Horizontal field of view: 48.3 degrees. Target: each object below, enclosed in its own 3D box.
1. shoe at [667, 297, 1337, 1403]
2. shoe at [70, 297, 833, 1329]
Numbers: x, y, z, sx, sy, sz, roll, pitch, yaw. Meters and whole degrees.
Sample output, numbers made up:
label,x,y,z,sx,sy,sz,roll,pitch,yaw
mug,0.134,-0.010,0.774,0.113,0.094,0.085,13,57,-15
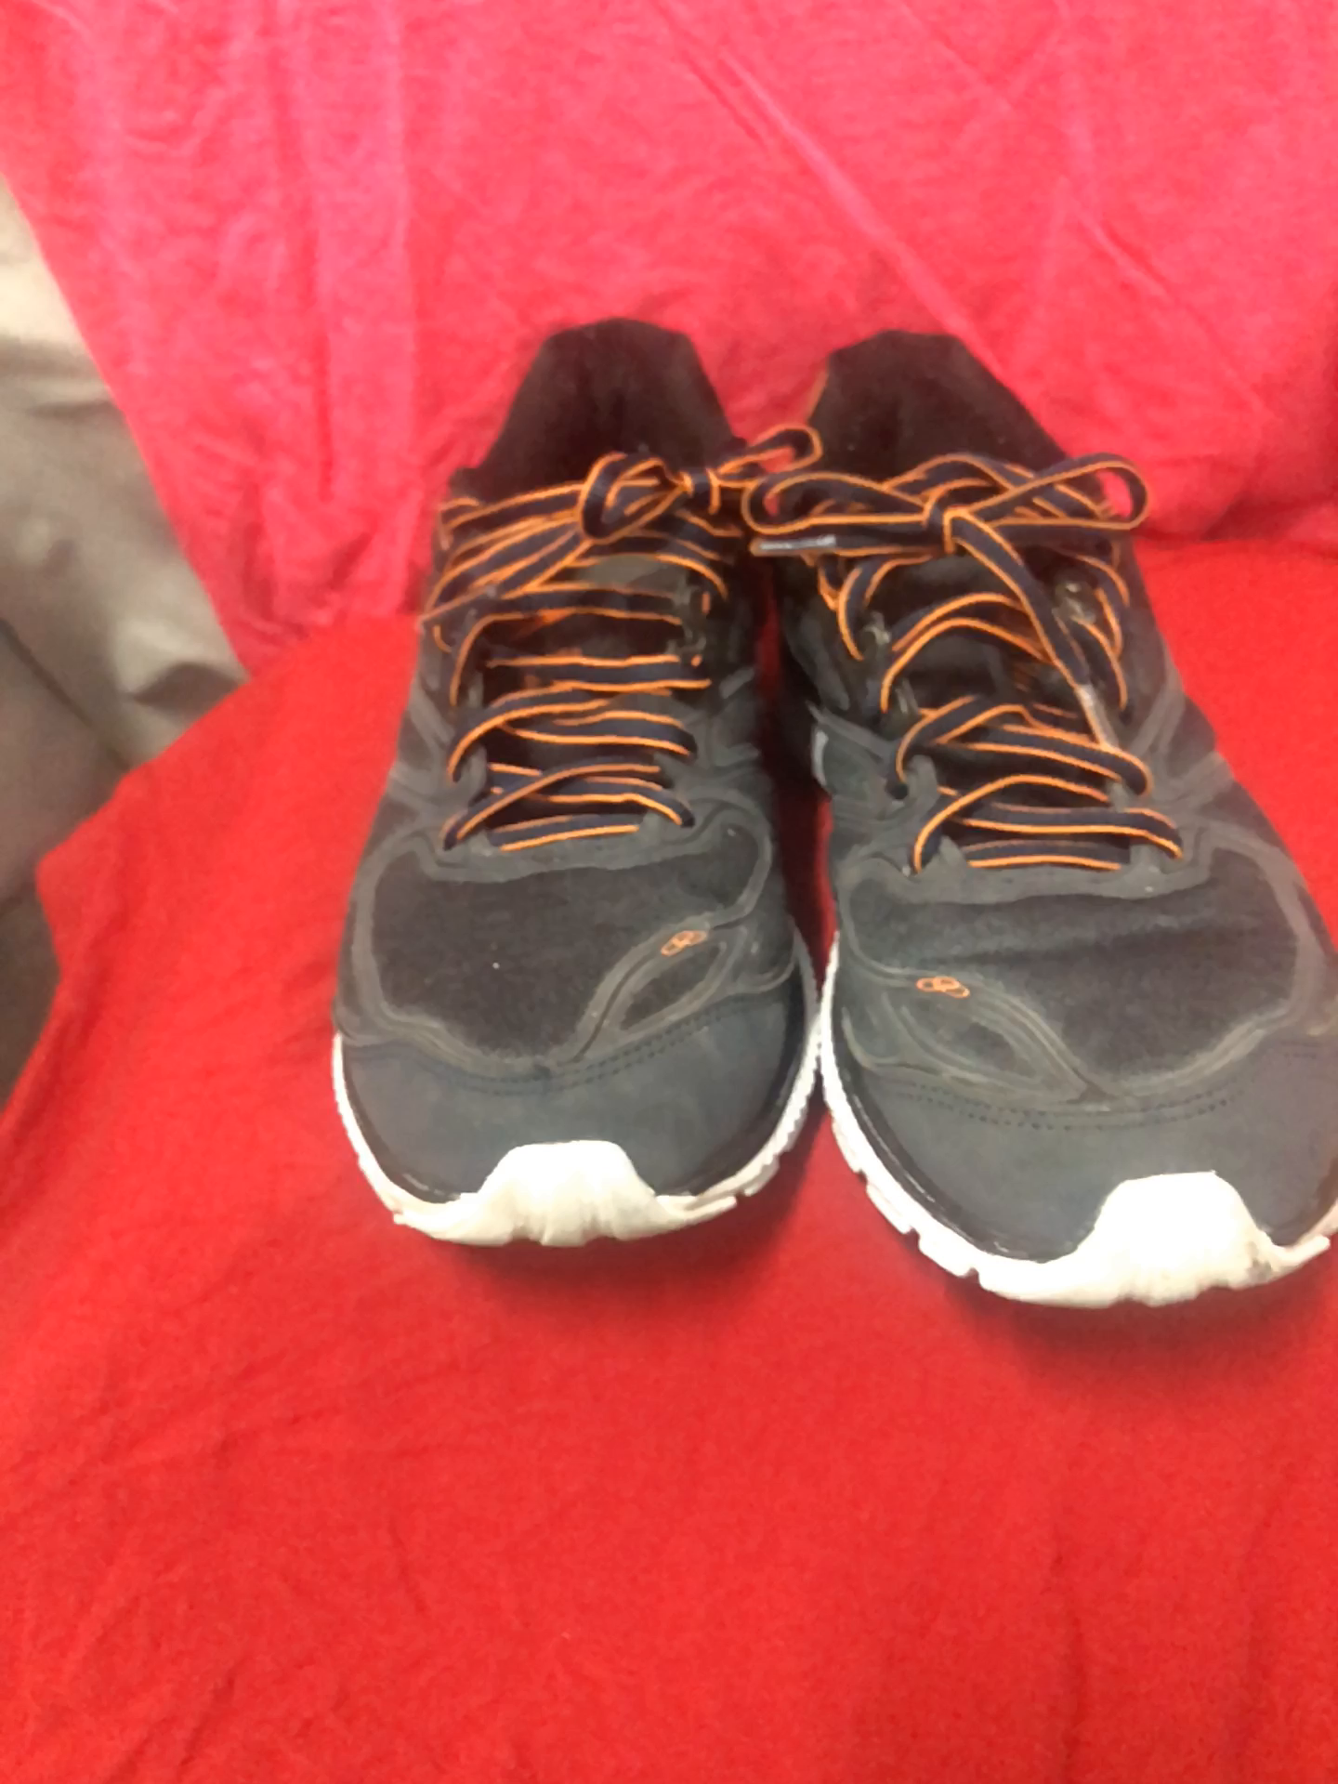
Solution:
label,x,y,z,sx,sy,sz,roll,pitch,yaw
shoe,0.068,-0.039,0.351,0.110,0.099,0.283,-7,39,1
shoe,-0.021,-0.045,0.352,0.110,0.089,0.282,-2,39,6
